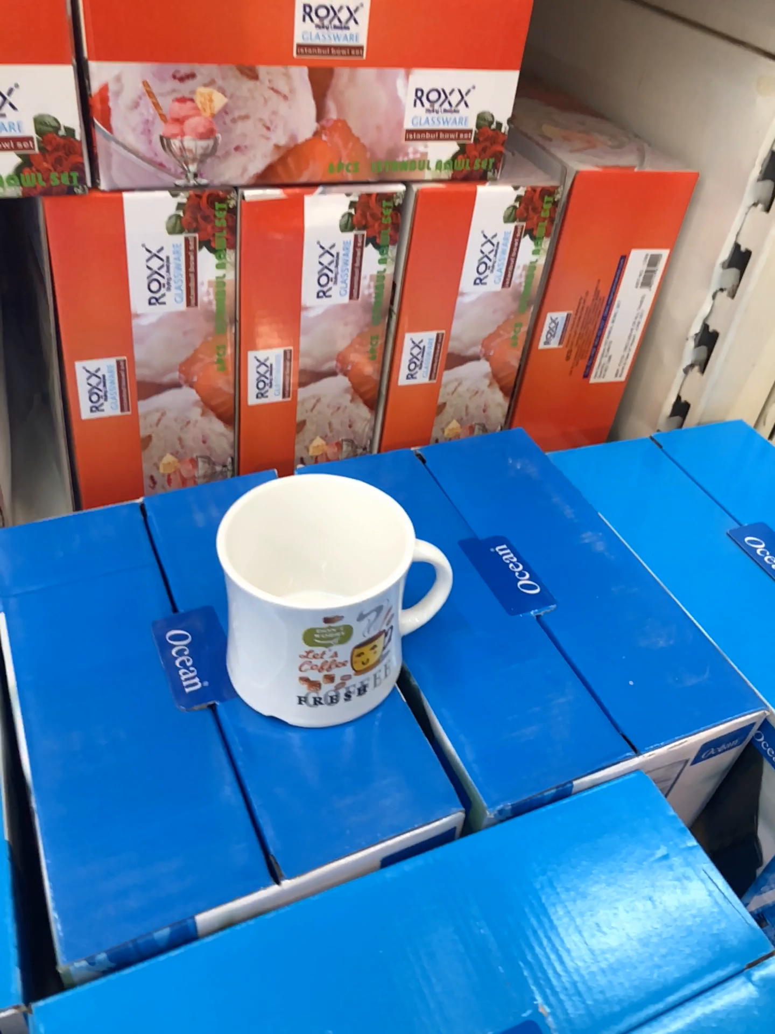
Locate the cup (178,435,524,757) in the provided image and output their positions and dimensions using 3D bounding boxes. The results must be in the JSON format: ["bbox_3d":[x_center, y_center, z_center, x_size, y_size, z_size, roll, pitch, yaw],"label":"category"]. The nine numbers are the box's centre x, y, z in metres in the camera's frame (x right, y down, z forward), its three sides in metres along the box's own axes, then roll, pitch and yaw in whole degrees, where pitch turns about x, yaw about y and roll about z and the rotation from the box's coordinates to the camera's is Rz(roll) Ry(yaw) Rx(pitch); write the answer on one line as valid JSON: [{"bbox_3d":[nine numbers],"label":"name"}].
[{"bbox_3d":[-0.018,0.025,0.316,0.100,0.069,0.070,-11,43,-23],"label":"cup"}]
